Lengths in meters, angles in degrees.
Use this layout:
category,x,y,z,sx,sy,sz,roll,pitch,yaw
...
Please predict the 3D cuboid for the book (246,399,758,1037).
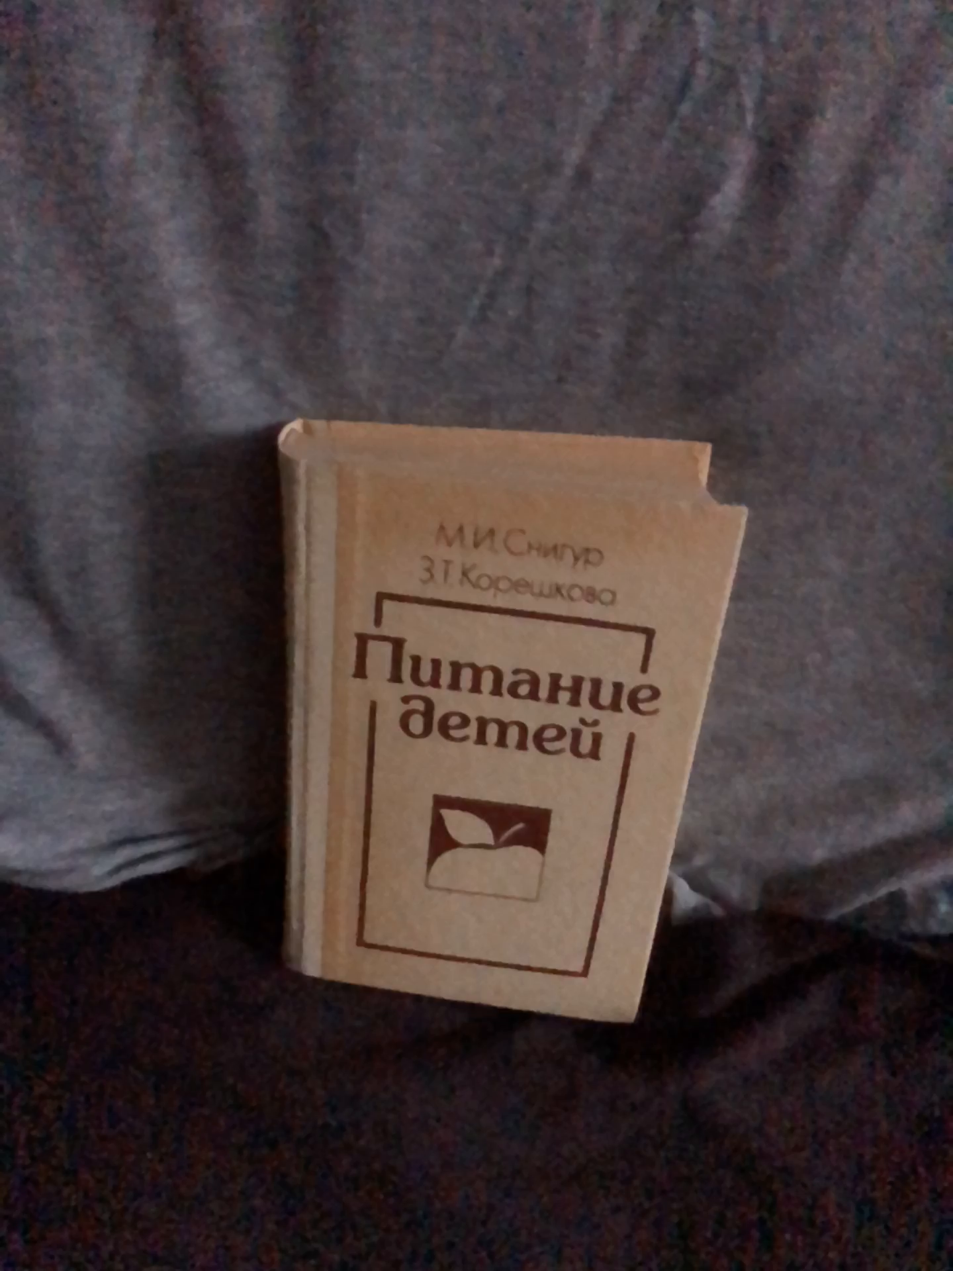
category,x,y,z,sx,sy,sz,roll,pitch,yaw
book,0.002,0.038,0.365,0.144,0.219,0.041,6,30,5
